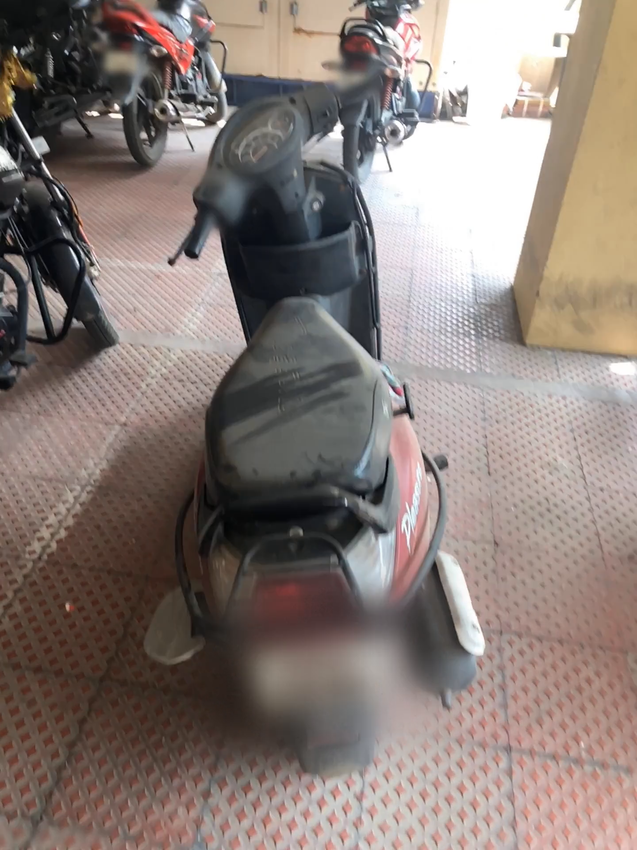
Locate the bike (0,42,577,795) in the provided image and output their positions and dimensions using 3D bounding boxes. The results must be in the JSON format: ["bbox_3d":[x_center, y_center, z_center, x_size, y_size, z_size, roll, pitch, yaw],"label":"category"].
[{"bbox_3d":[-0.162,-0.209,1.679,0.599,1.030,1.659,-2,36,-7],"label":"bike"}]
